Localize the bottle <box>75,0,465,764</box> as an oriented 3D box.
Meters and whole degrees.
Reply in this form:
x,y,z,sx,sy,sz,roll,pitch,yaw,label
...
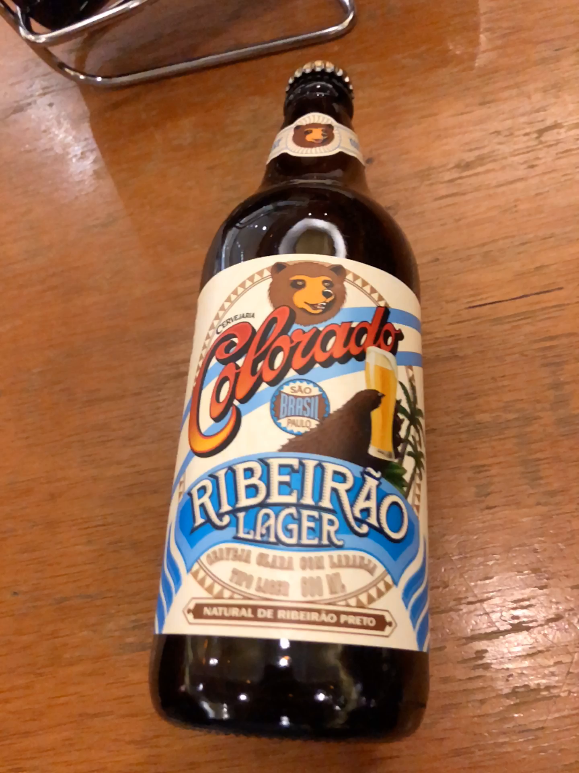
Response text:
x,y,z,sx,sy,sz,roll,pitch,yaw,label
0.006,-0.027,0.225,0.090,0.060,0.261,-1,66,11,bottle
